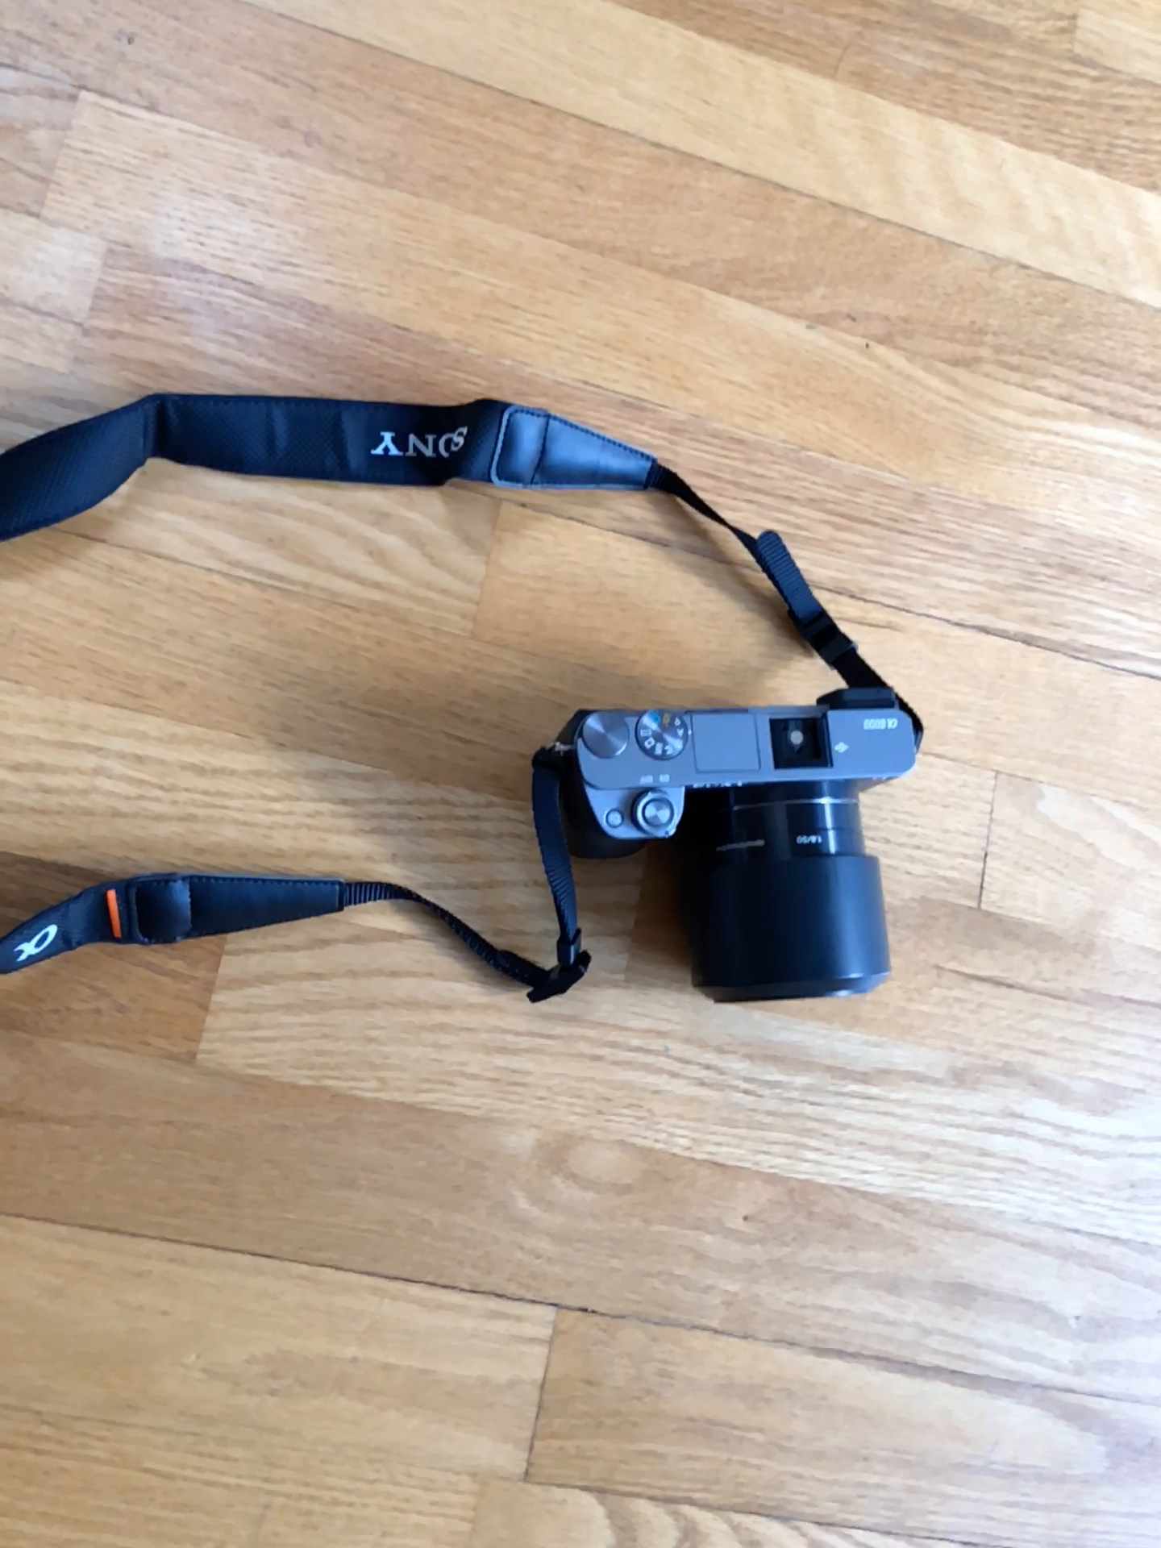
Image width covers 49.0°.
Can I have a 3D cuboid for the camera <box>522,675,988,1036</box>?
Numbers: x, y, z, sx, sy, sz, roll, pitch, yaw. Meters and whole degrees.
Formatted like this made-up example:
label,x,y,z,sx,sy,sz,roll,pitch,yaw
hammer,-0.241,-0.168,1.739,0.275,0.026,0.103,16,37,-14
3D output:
label,x,y,z,sx,sy,sz,roll,pitch,yaw
camera,0.058,0.028,0.448,0.140,0.060,0.110,-3,81,-13
